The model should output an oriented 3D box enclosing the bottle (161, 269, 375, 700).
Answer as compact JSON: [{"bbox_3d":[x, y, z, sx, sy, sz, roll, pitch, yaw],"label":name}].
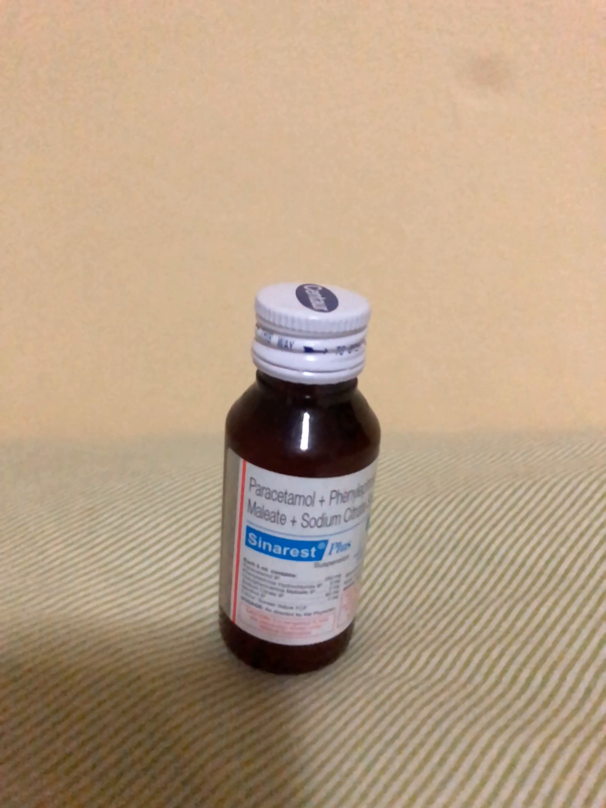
[{"bbox_3d":[-0.007,0.021,0.173,0.040,0.100,0.037,1,27,-1],"label":"bottle"}]
